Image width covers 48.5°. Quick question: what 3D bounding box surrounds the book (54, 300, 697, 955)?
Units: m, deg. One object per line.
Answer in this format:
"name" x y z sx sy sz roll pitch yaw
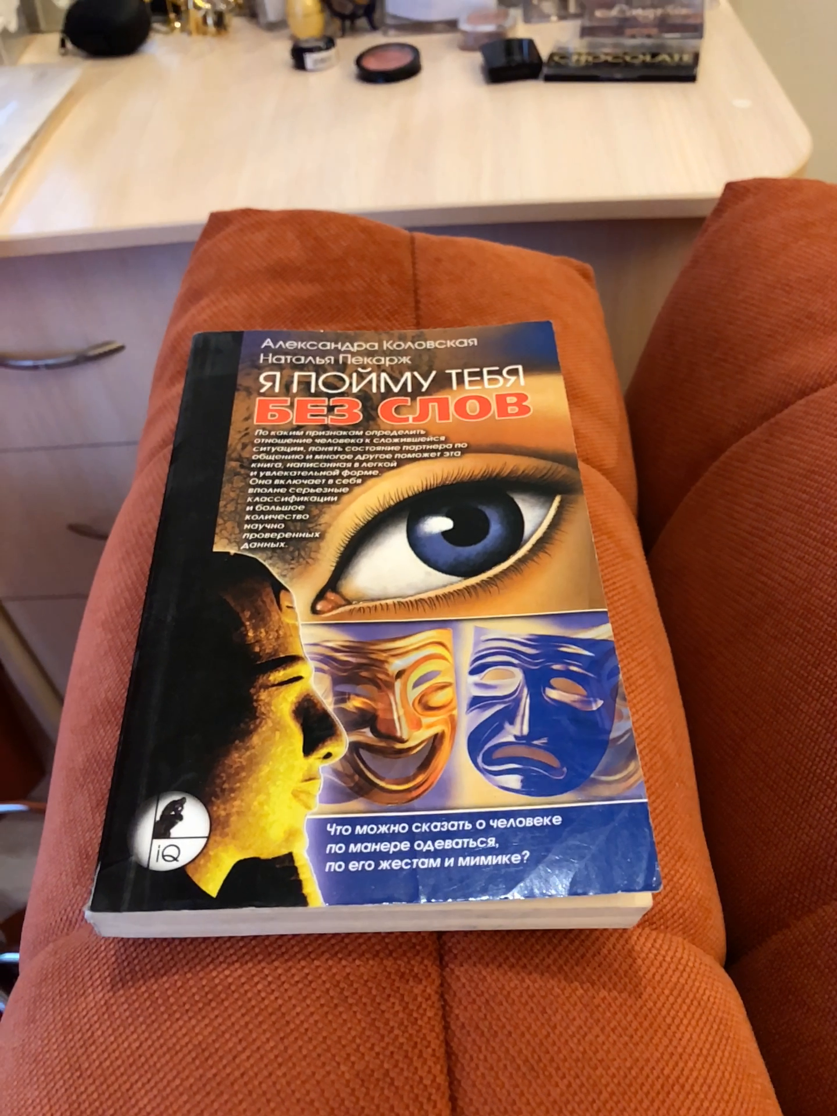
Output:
"book" -0.011 0.002 0.256 0.128 0.030 0.191 -2 52 0
